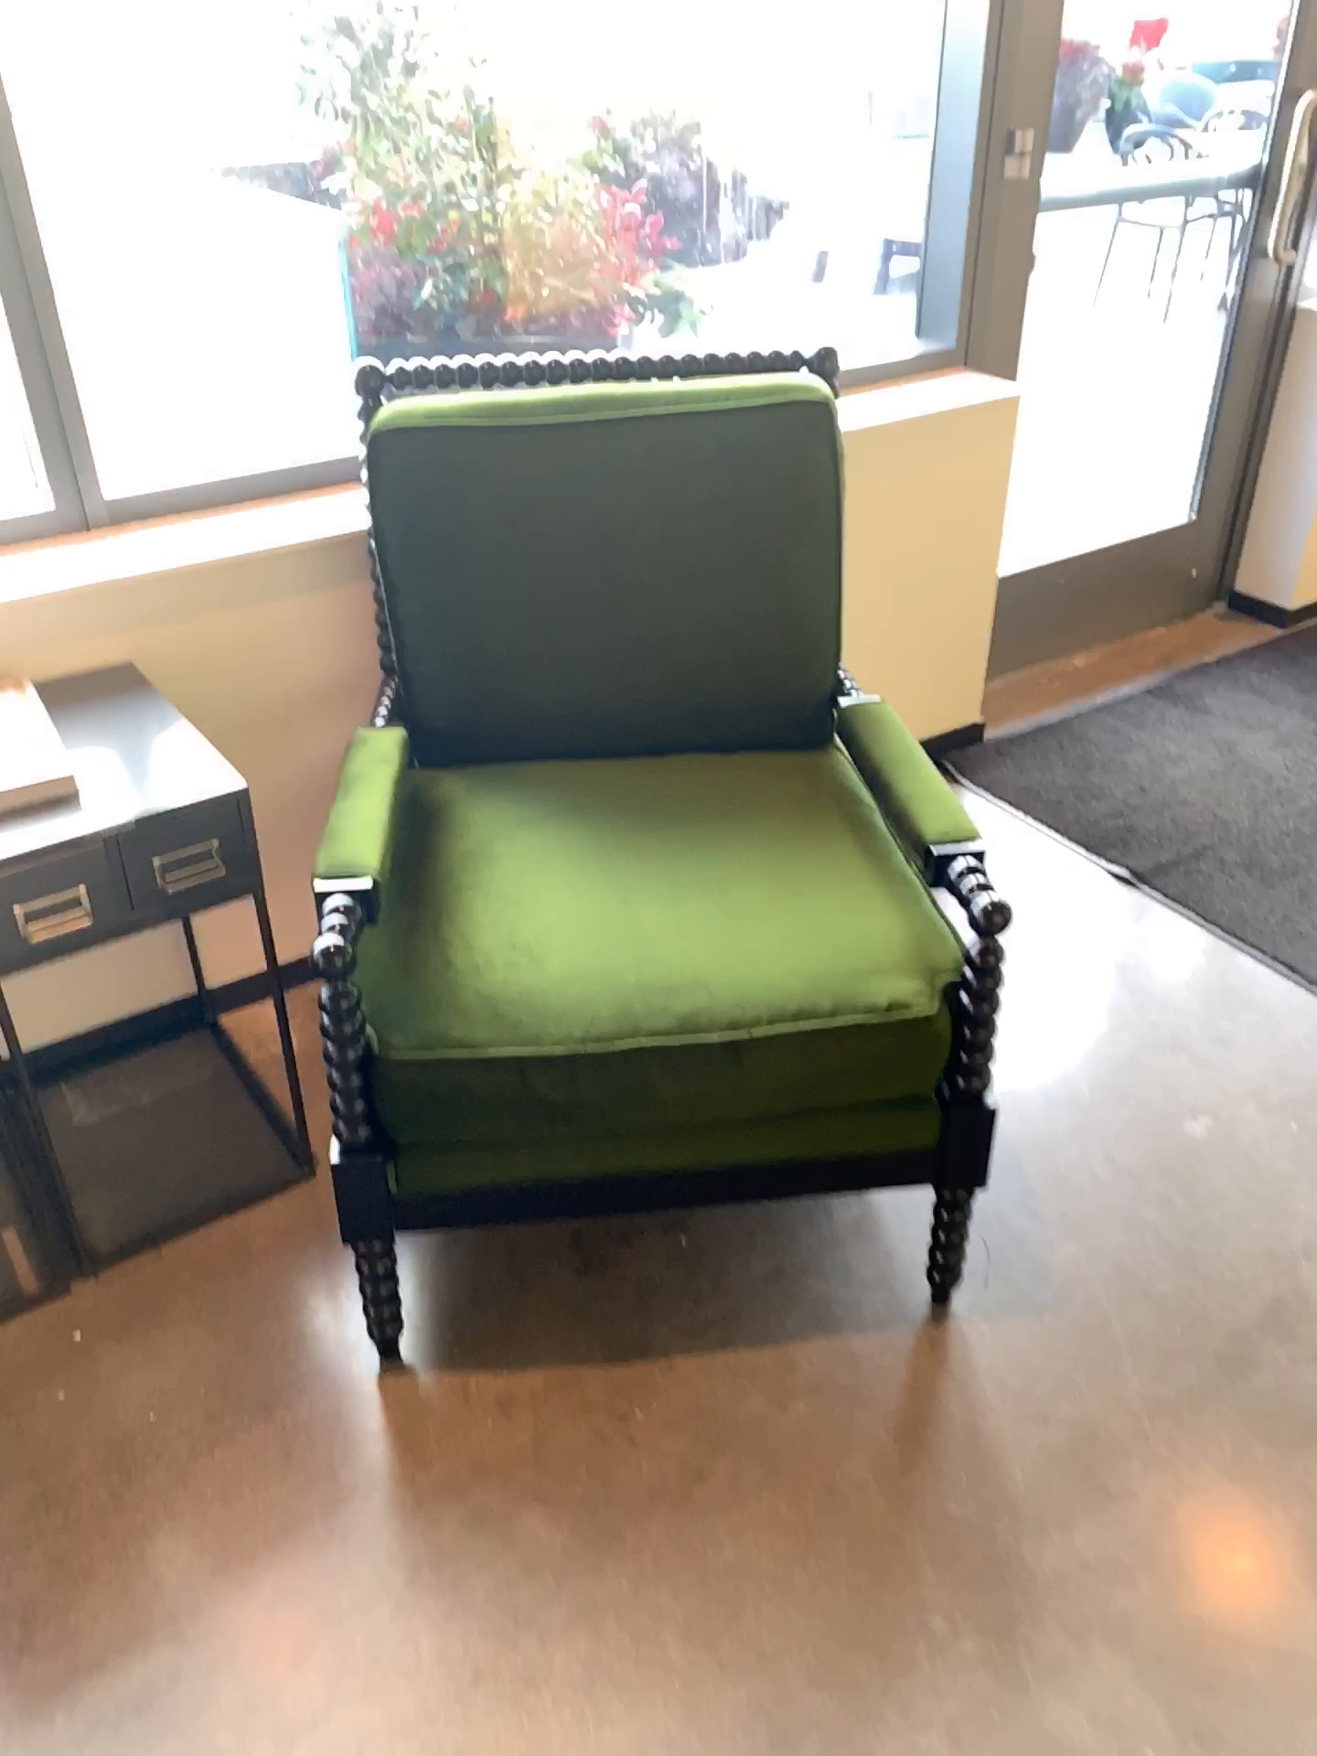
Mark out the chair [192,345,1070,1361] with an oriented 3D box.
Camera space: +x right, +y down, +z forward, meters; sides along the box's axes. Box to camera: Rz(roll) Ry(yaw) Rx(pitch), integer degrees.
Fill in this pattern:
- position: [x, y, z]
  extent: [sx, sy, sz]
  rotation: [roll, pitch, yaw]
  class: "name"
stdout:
- position: [-0.057, -0.090, 1.812]
  extent: [0.760, 0.983, 0.926]
  rotation: [-3, 33, -5]
  class: "chair"
